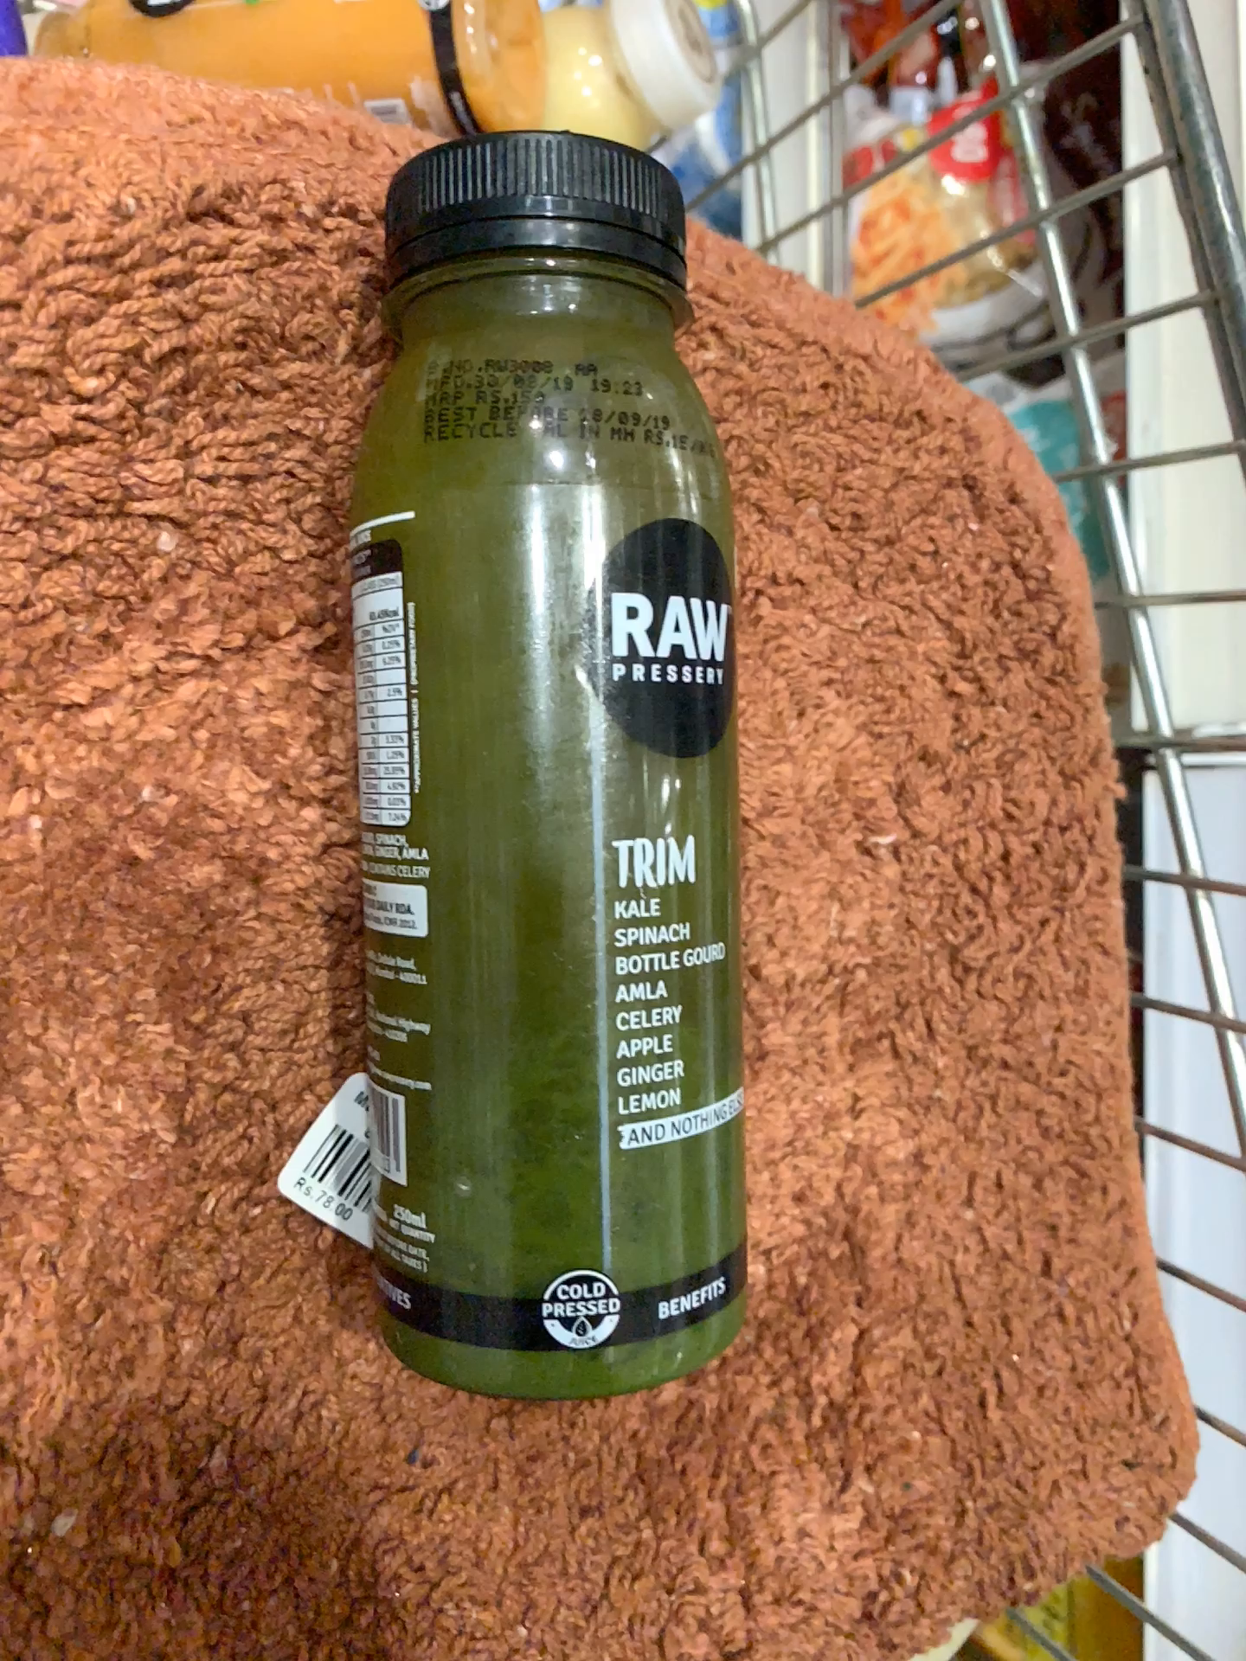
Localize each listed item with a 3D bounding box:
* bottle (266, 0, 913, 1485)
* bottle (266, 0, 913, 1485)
[{"bbox_3d":[-0.004,-0.010,0.168,0.060,0.050,0.150,-2,90,-41],"label":"bottle"},{"bbox_3d":[-0.004,-0.010,0.168,0.060,0.050,0.150,-2,90,-41],"label":"bottle"}]
